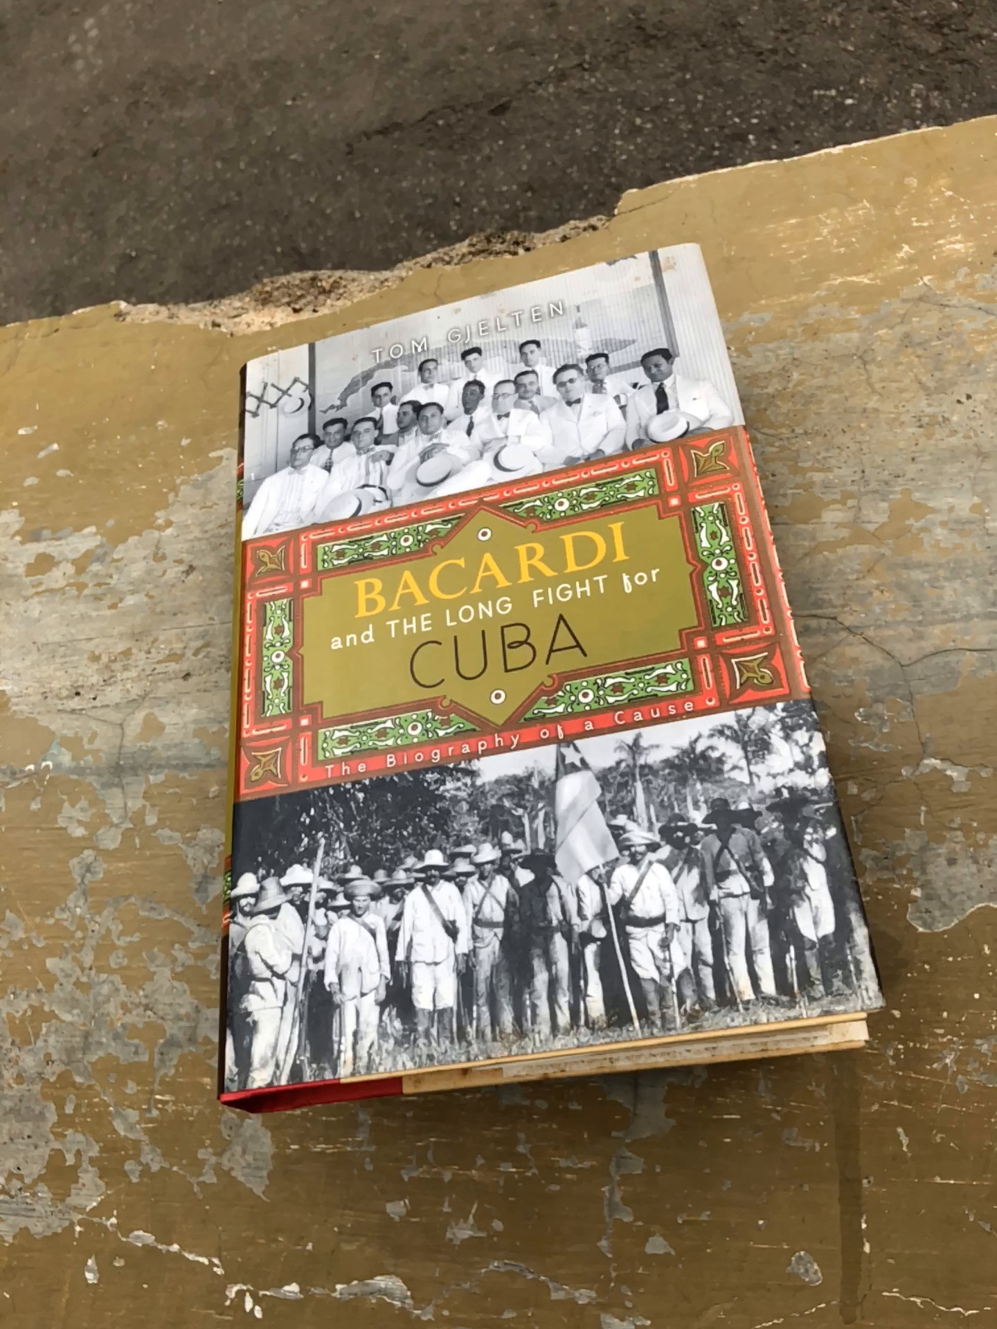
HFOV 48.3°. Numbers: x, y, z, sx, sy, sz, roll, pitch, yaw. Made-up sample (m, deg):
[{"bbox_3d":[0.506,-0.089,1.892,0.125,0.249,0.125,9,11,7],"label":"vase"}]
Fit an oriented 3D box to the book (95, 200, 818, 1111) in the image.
[{"bbox_3d":[-0.017,-0.011,0.332,0.170,0.050,0.250,-11,61,12],"label":"book"}]
